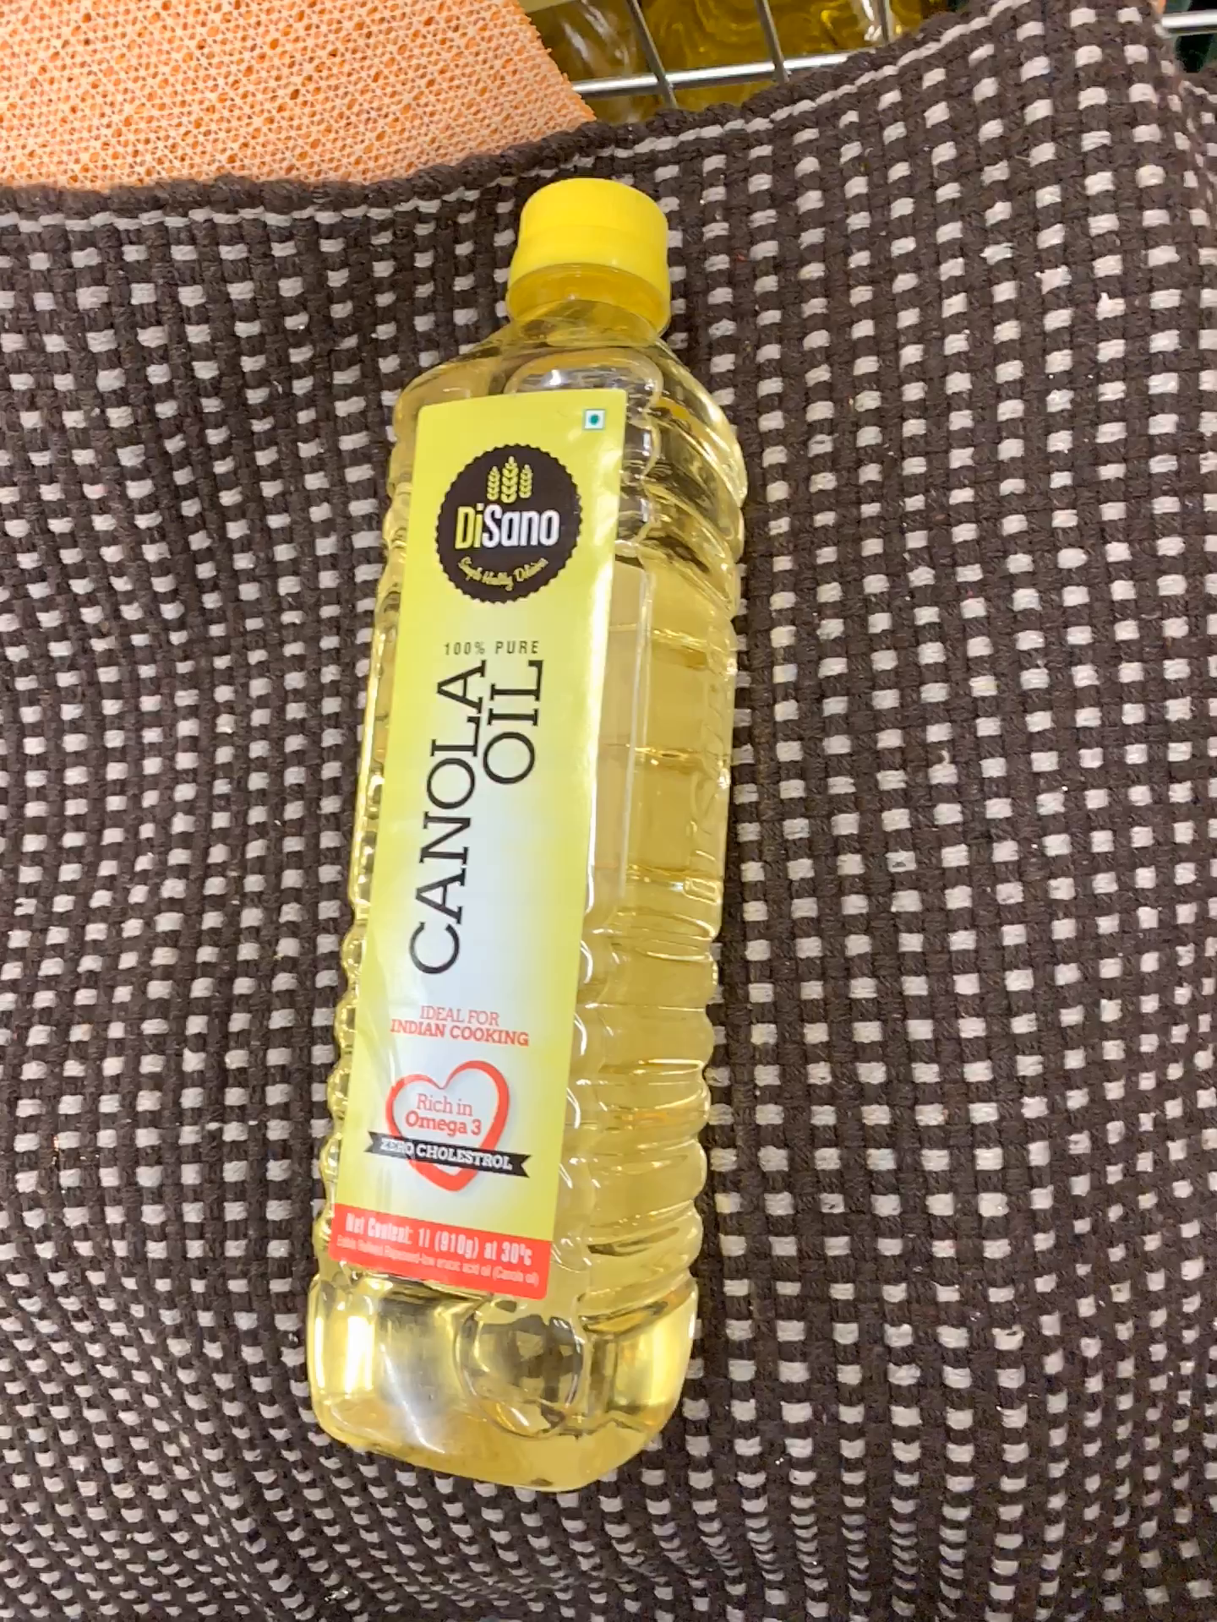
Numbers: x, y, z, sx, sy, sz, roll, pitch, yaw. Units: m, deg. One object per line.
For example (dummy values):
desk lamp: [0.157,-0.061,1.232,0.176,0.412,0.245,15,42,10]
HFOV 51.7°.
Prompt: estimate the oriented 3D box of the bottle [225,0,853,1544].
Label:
bottle: [-0.005,-0.020,0.229,0.070,0.060,0.250,2,82,23]
